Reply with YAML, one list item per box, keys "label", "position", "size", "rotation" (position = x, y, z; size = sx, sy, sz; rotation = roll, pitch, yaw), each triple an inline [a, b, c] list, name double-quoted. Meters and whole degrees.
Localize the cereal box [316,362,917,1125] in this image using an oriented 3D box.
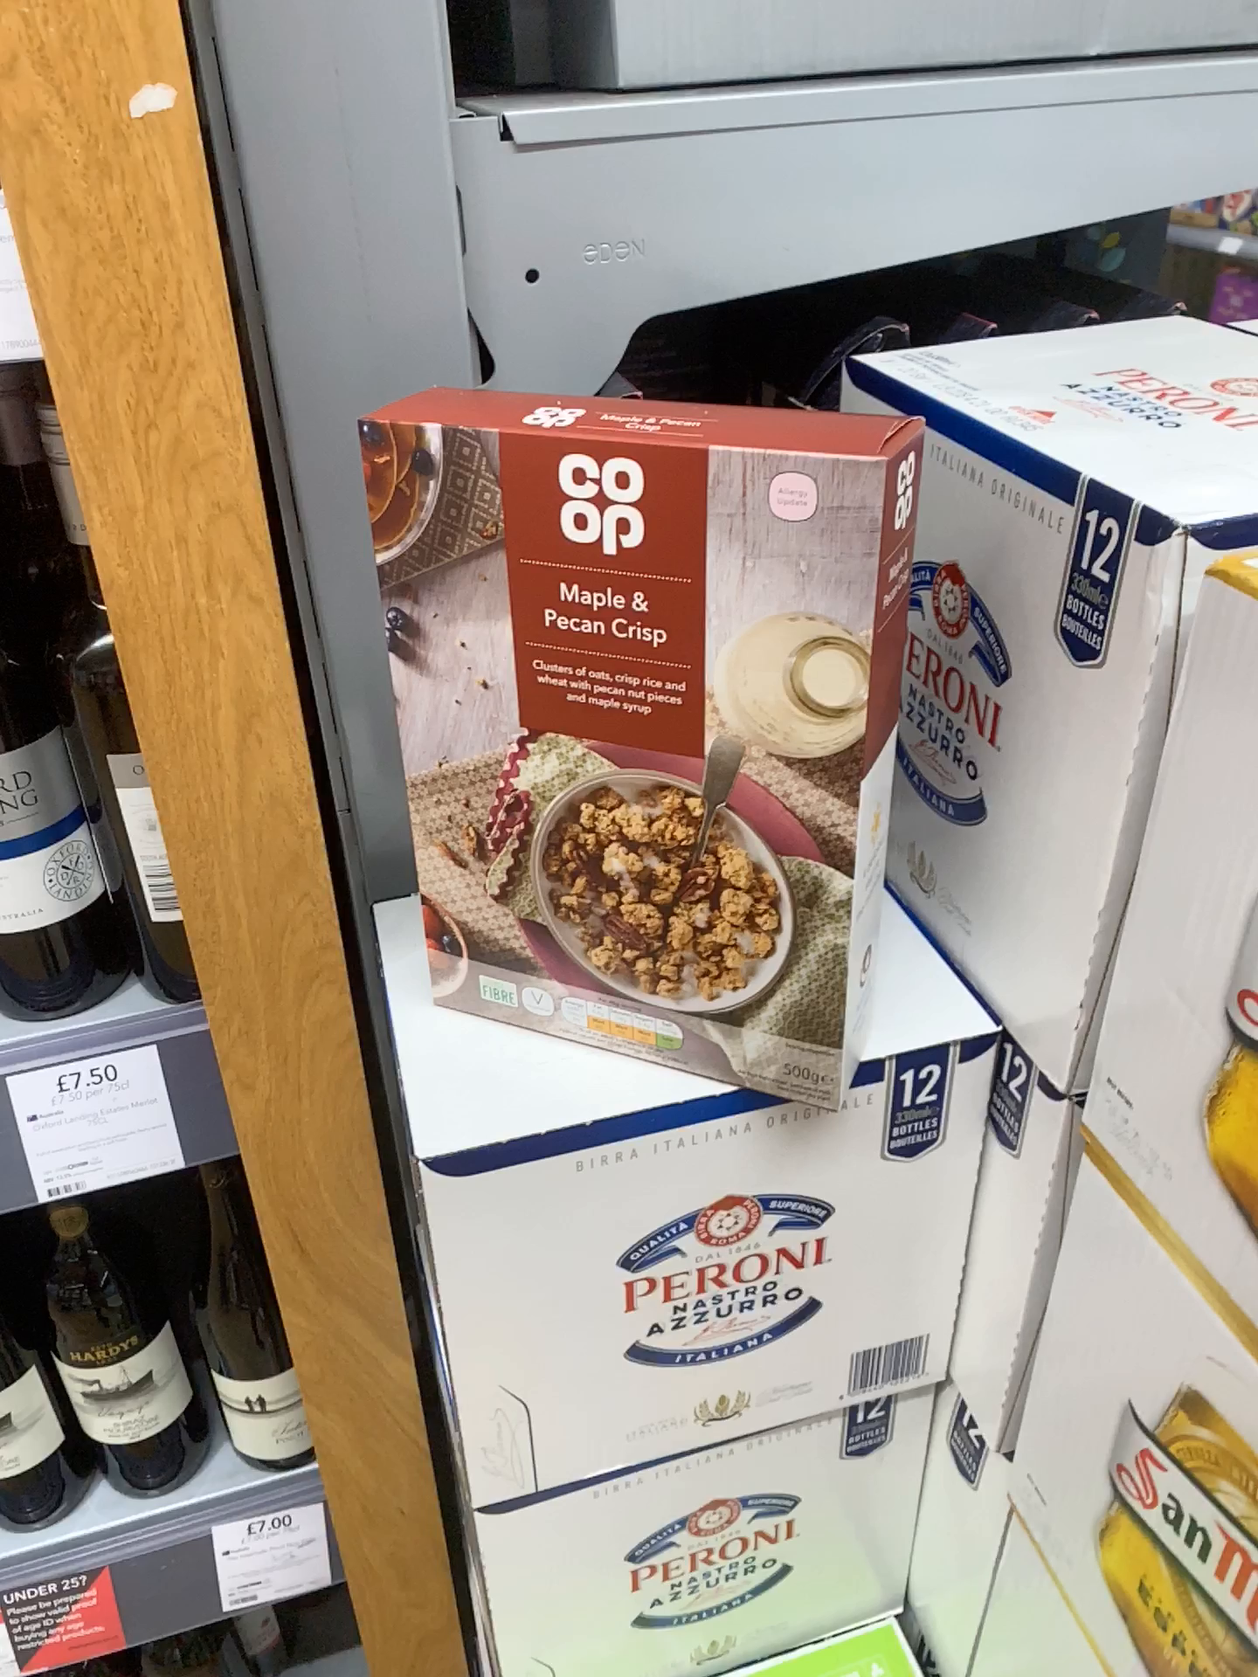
- label: "cereal box"
  position: [-0.002, -0.033, 0.468]
  size: [0.180, 0.248, 0.060]
  rotation: [11, 32, 20]
